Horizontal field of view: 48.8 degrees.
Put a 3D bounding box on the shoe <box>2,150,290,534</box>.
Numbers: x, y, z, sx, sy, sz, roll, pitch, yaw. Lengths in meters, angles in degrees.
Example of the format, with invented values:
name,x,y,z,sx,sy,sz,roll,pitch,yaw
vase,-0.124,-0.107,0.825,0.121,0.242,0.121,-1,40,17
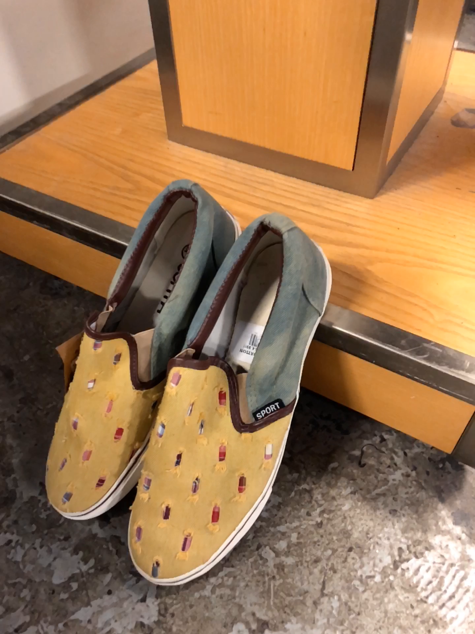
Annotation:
name,x,y,z,sx,sy,sz,roll,pitch,yaw
shoe,-0.071,0.020,0.426,0.090,0.259,0.120,28,11,26

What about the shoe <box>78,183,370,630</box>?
name,x,y,z,sx,sy,sz,roll,pitch,yaw
shoe,-0.009,0.060,0.388,0.090,0.279,0.100,24,9,28
